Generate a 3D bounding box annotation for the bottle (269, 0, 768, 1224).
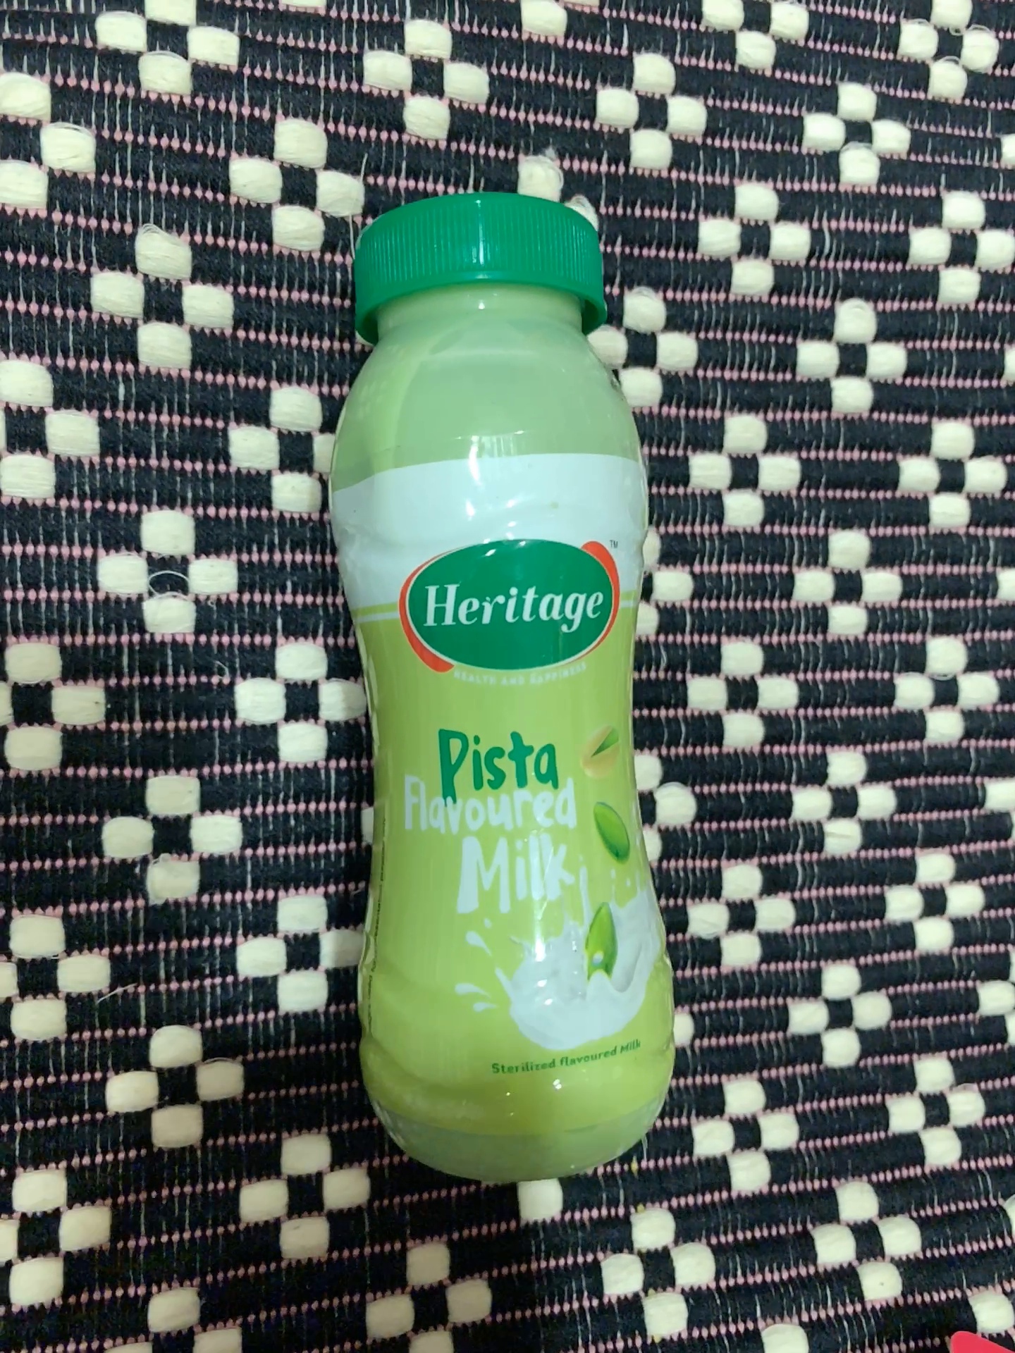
[{"bbox_3d":[-0.003,-0.011,0.158,0.050,0.050,0.150,-4,89,-17],"label":"bottle"}]
